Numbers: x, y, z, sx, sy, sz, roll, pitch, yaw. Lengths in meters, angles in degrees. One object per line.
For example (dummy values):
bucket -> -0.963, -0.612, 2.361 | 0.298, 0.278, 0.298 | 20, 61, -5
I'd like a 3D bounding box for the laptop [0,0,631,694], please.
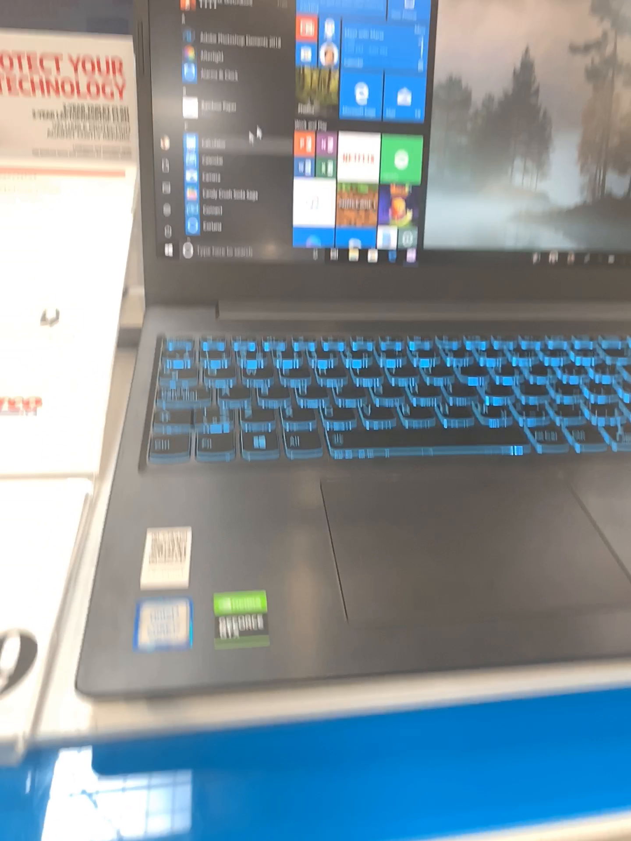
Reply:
laptop -> 0.087, -0.112, 0.284 | 0.340, 0.214, 0.330 | -1, 36, -10
